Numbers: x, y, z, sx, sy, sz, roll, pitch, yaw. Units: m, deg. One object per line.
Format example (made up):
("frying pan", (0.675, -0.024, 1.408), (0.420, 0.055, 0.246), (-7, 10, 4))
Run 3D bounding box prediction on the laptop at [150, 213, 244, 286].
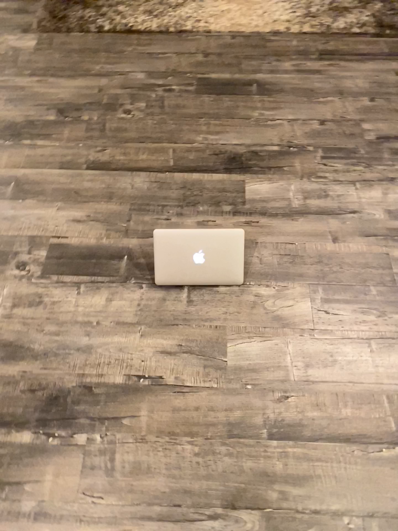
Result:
("laptop", (-0.008, -0.052, 1.349), (0.292, 0.132, 0.193), (-1, 59, -1))
